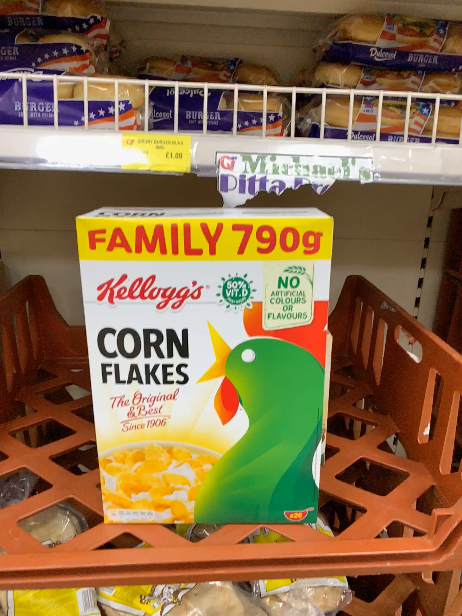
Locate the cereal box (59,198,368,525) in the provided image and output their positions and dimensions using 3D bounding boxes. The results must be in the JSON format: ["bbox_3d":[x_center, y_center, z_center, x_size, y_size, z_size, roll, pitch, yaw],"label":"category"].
[{"bbox_3d":[-0.018,0.061,0.508,0.270,0.338,0.091,1,18,-2],"label":"cereal box"}]
